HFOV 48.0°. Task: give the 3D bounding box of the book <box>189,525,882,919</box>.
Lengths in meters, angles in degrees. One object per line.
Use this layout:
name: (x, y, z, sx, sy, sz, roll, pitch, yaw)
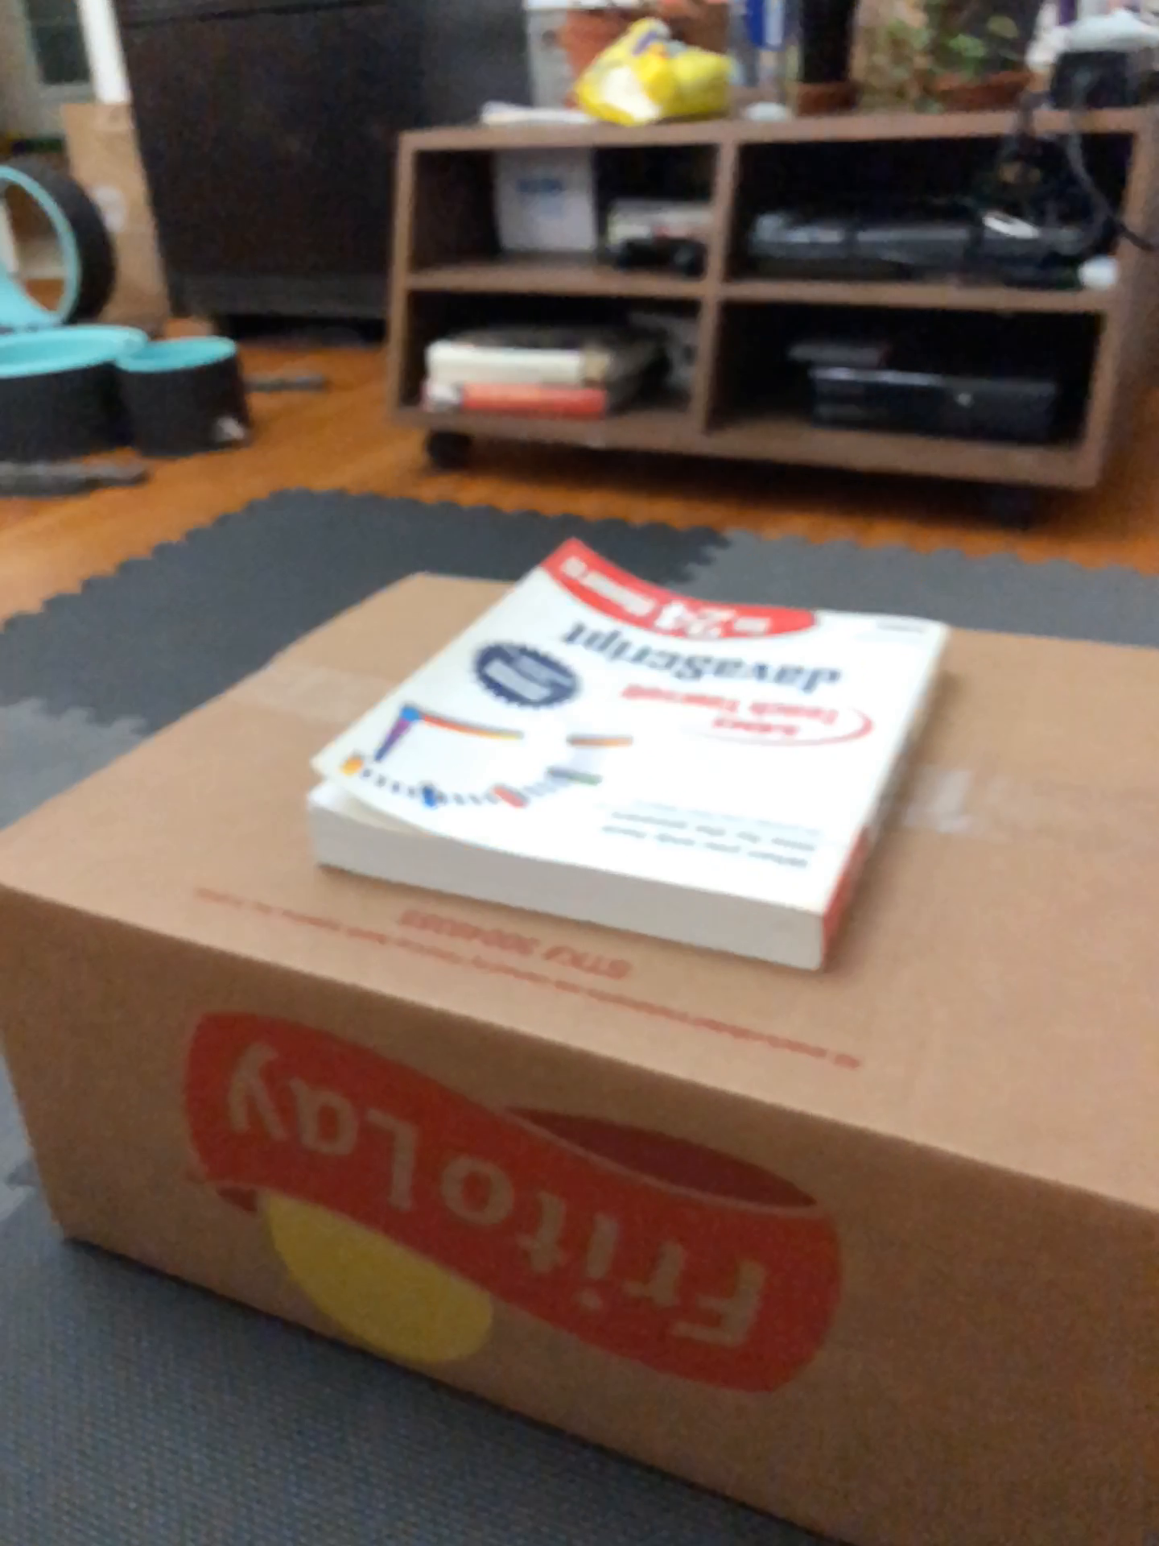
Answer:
book: (-0.001, -0.040, 0.533, 0.200, 0.030, 0.241, 9, 32, 21)
